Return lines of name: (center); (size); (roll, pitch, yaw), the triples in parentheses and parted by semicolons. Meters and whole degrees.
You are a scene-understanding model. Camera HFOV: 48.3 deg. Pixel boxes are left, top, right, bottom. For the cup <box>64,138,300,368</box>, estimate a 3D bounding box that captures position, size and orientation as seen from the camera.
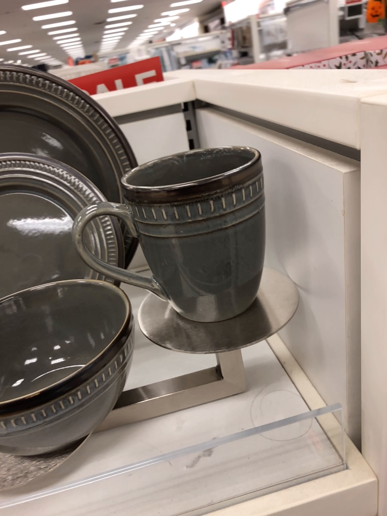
cup: (-0.008, -0.012, 0.302); (0.126, 0.106, 0.089); (-18, 25, -15)
